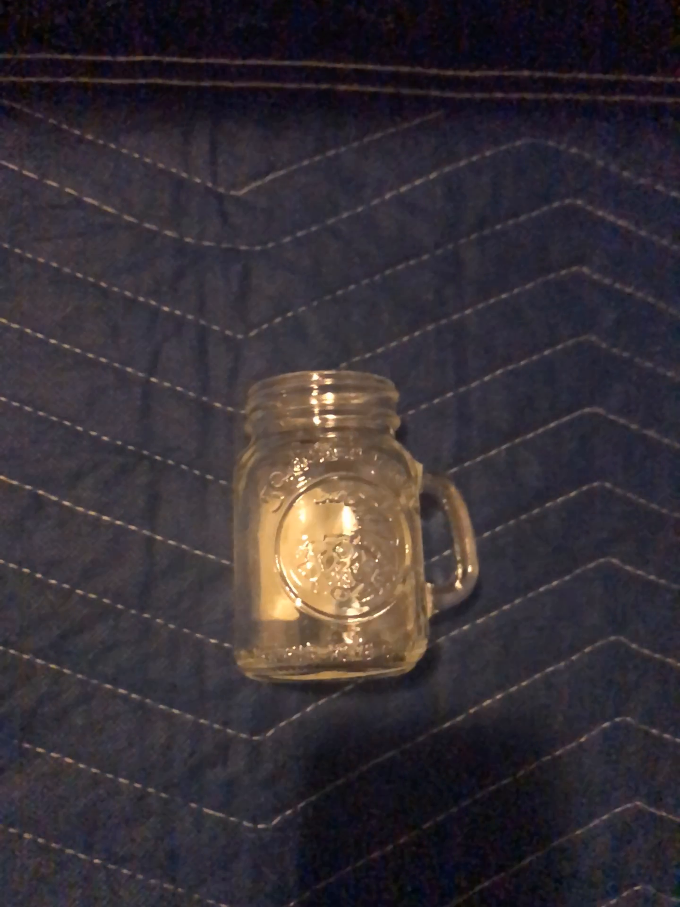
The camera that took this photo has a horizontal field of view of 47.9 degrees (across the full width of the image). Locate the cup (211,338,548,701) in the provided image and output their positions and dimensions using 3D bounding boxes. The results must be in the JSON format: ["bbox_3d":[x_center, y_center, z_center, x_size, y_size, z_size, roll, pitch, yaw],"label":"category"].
[{"bbox_3d":[0.009,0.019,0.235,0.088,0.043,0.095,0,84,-4],"label":"cup"}]
